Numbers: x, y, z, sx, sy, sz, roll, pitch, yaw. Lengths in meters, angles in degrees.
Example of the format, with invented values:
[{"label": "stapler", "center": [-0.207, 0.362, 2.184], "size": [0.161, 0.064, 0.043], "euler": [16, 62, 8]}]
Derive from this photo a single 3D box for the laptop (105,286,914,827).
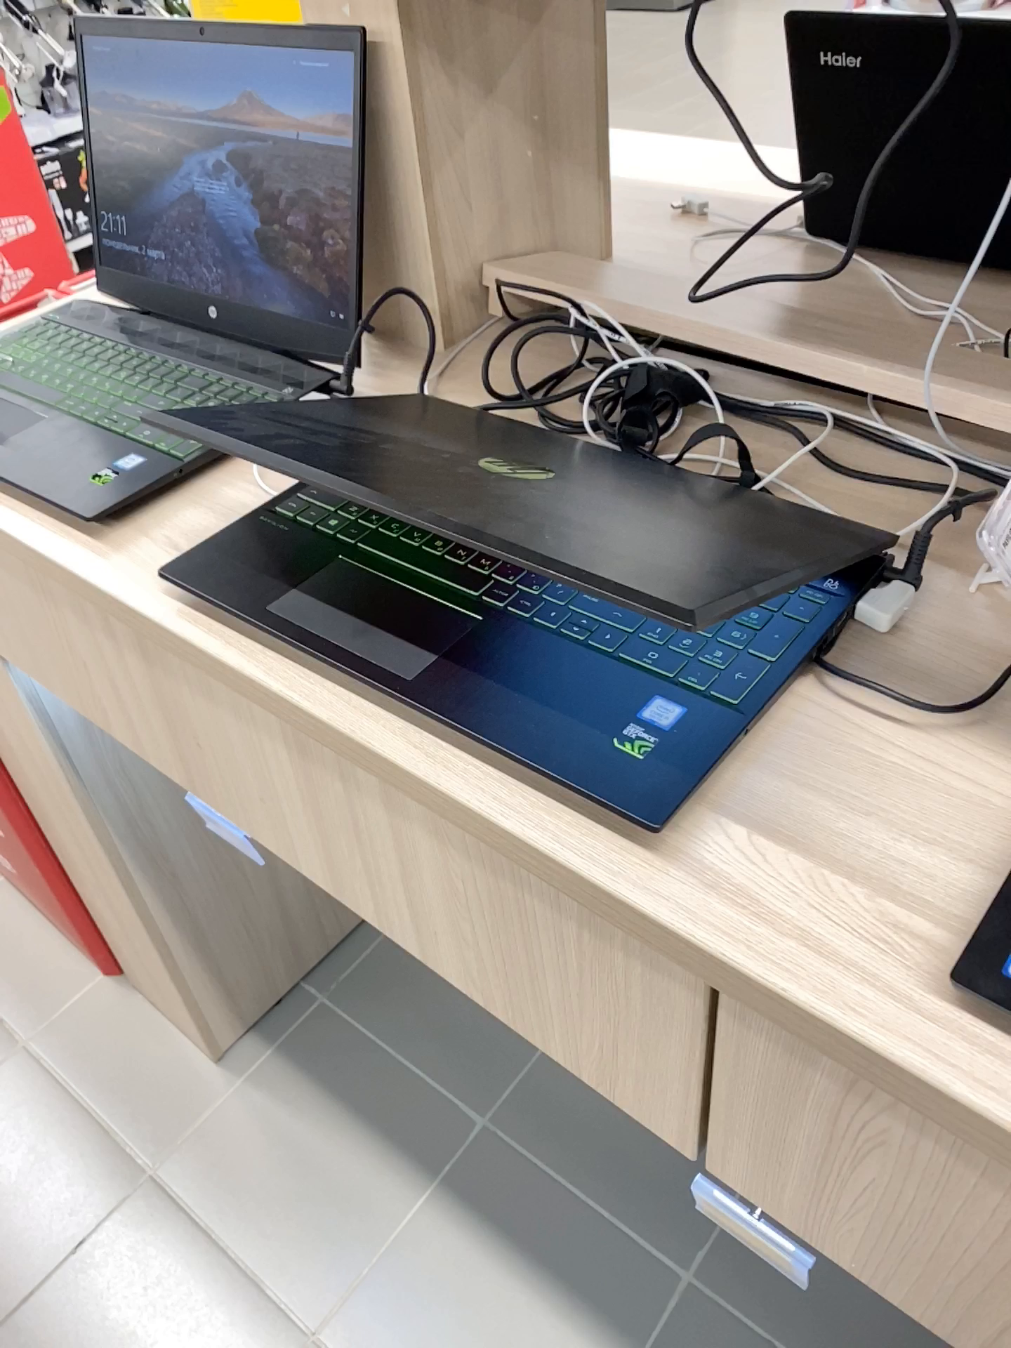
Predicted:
[{"label": "laptop", "center": [-0.003, -0.100, 0.582], "size": [0.362, 0.092, 0.242], "euler": [24, 49, 30]}]
